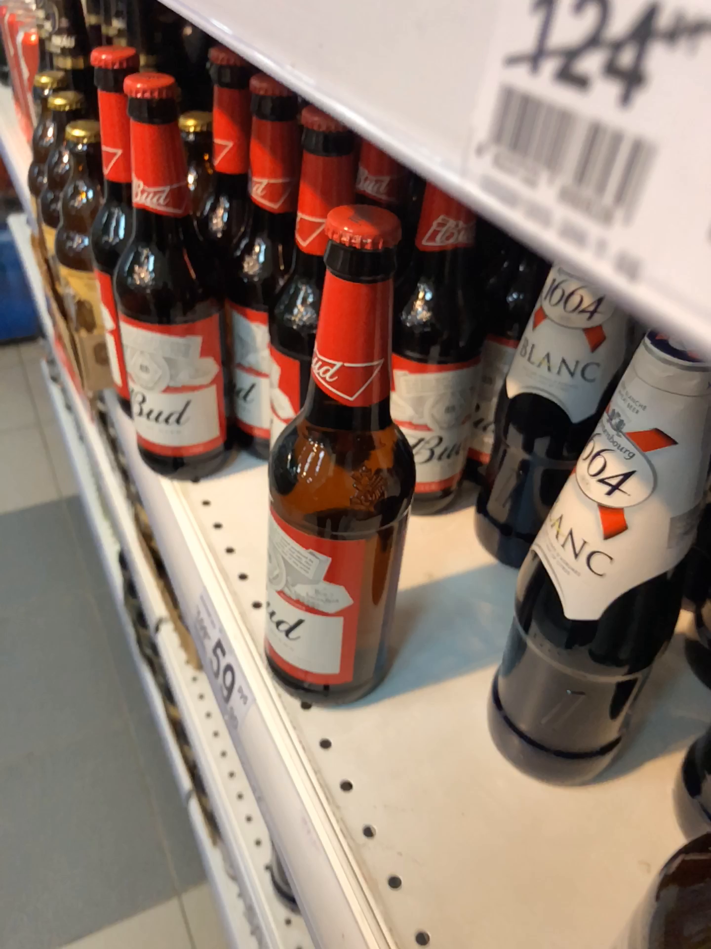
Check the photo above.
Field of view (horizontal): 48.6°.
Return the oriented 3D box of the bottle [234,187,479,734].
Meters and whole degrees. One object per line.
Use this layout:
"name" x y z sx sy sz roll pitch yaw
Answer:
"bottle" -0.008 0.007 0.369 0.070 0.248 0.080 -9 40 -15
